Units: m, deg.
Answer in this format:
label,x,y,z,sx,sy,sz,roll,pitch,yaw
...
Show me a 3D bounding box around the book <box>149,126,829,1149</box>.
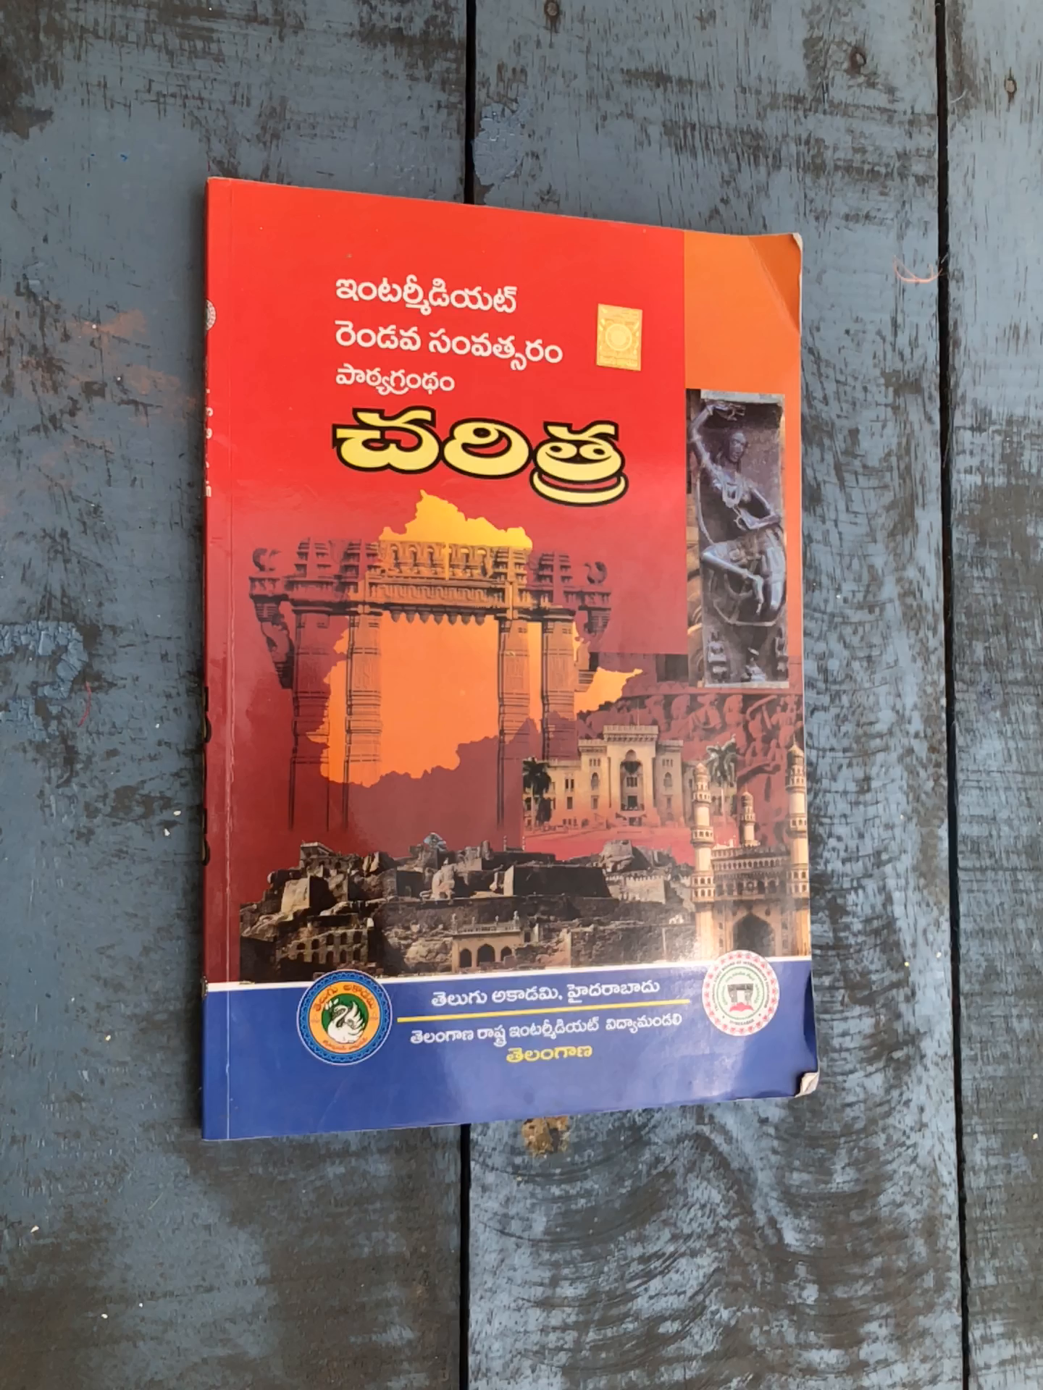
label,x,y,z,sx,sy,sz,roll,pitch,yaw
book,-0.008,-0.017,0.346,0.190,0.040,0.270,1,85,-15
